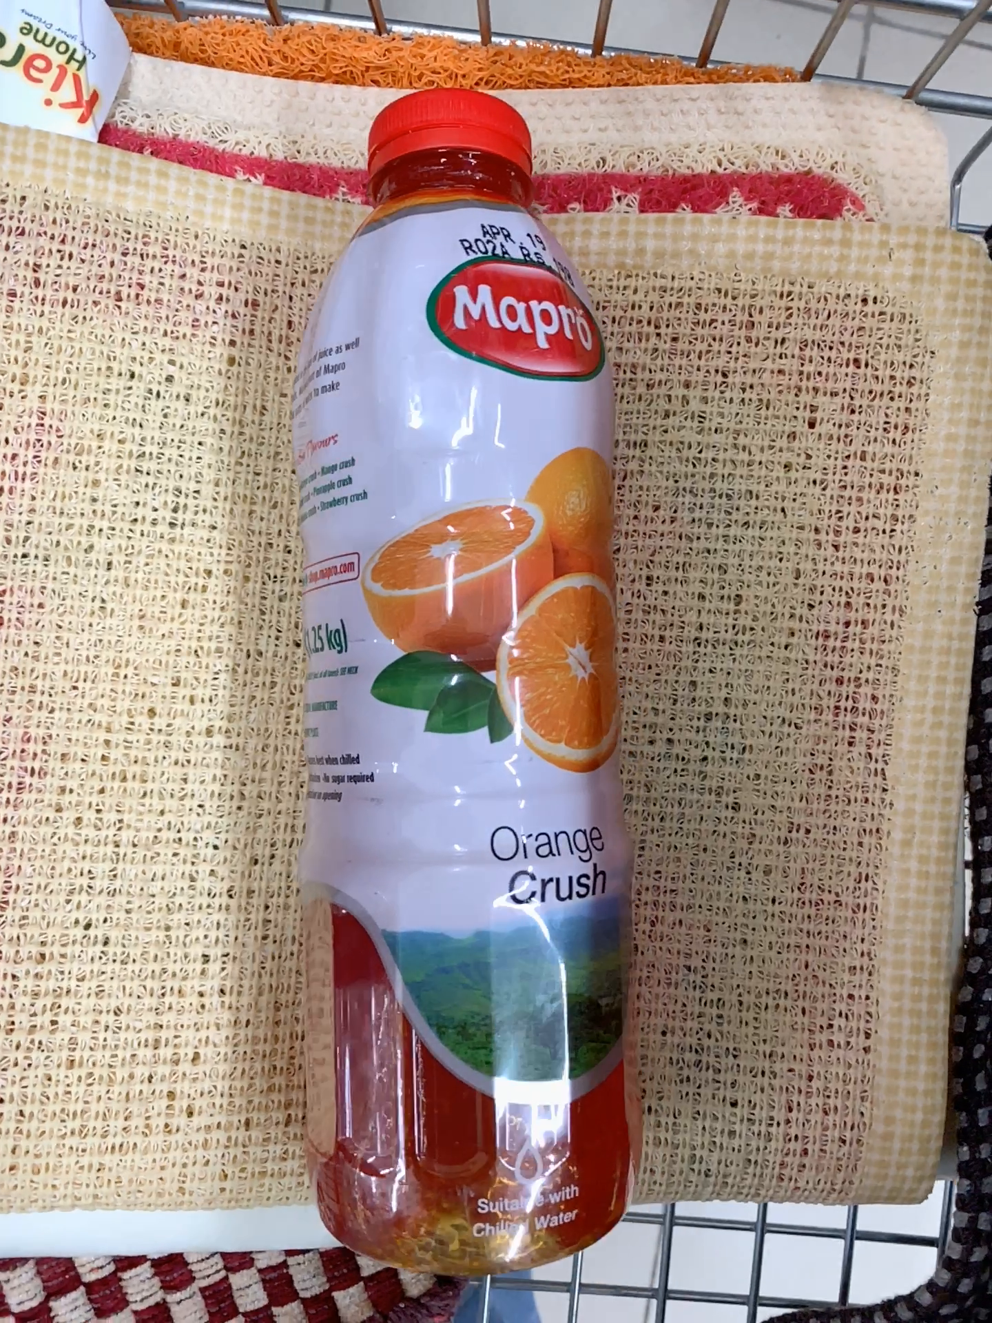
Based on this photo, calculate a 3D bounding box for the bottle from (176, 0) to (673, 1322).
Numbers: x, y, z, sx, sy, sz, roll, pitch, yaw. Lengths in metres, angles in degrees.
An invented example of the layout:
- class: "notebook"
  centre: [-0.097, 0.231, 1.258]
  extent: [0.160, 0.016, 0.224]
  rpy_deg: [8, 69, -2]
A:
- class: "bottle"
  centre: [-0.017, -0.010, 0.220]
  extent: [0.080, 0.070, 0.240]
  rpy_deg: [2, 87, -28]
